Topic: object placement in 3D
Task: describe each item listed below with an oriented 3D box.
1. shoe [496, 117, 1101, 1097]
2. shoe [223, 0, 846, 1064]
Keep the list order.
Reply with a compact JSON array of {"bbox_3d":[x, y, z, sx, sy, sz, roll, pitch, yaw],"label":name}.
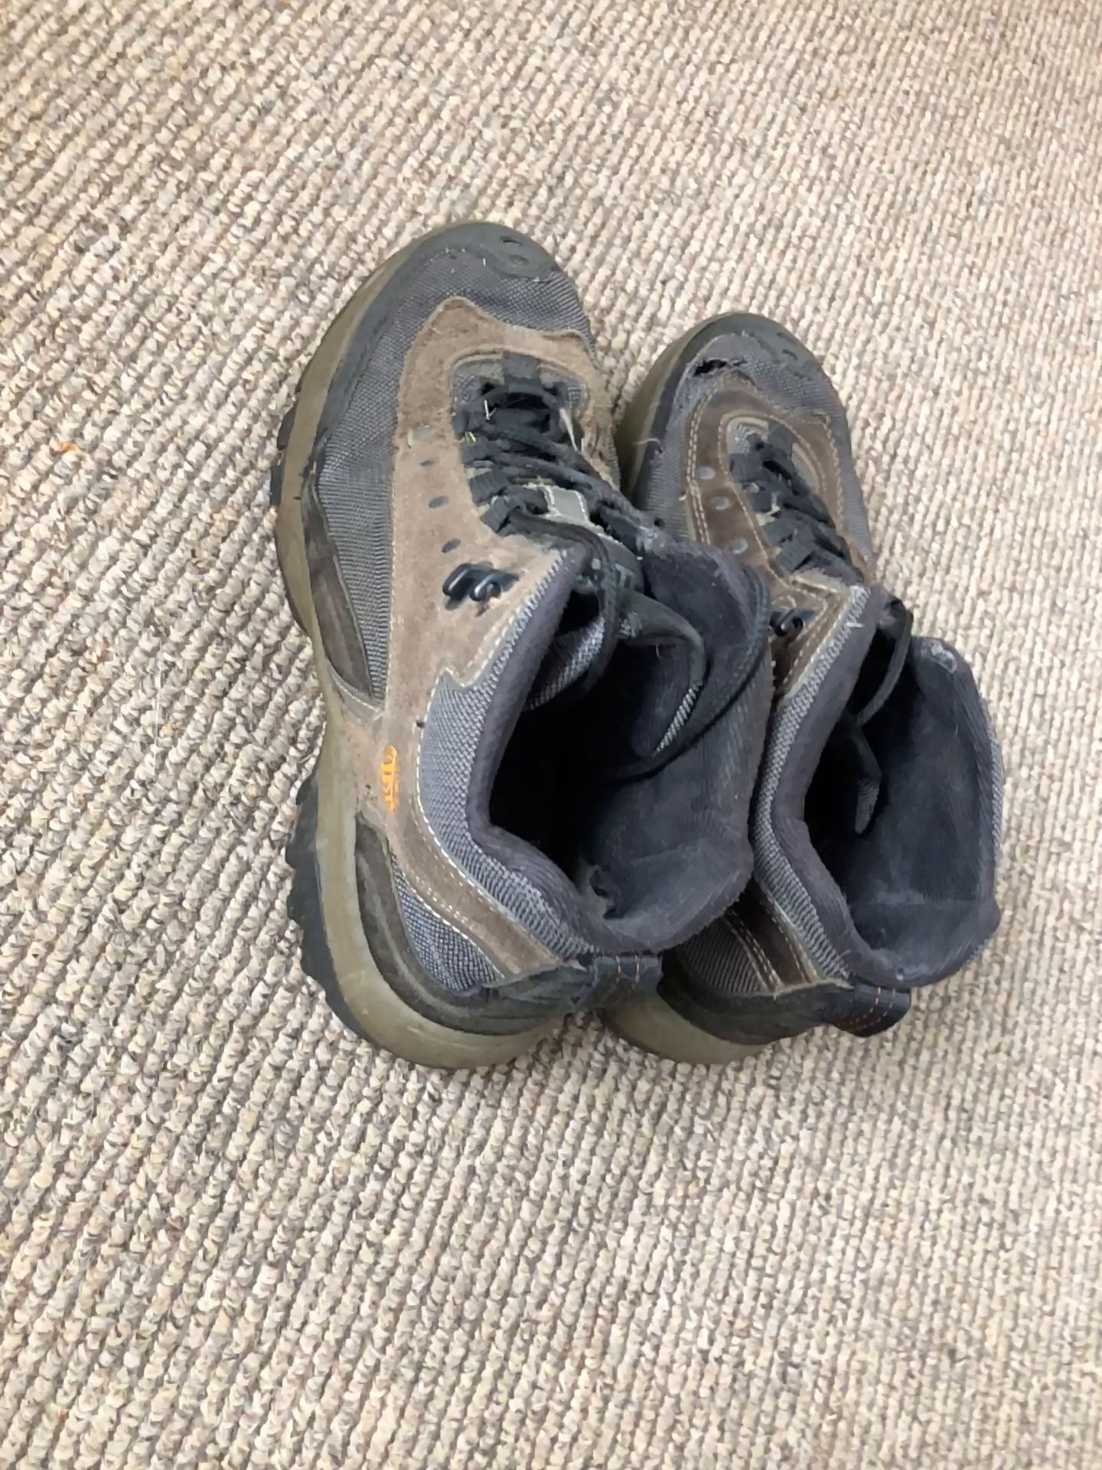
[{"bbox_3d":[0.088,-0.034,0.416,0.119,0.137,0.280,20,65,-22],"label":"shoe"},{"bbox_3d":[-0.014,-0.050,0.366,0.116,0.135,0.280,8,70,-26],"label":"shoe"}]
